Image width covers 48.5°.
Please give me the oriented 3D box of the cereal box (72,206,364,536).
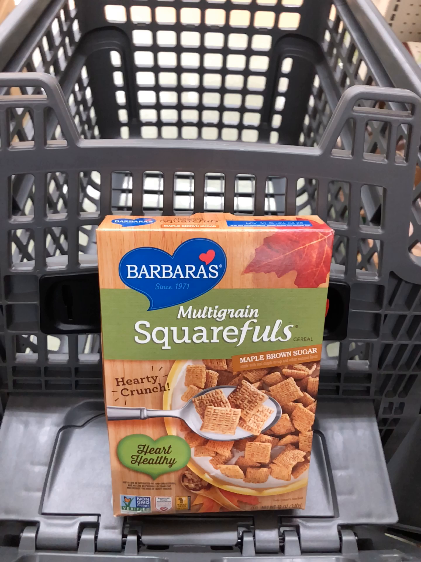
[{"bbox_3d":[0.003,0.076,0.373,0.190,0.260,0.060,0,19,-3],"label":"cereal box"}]
